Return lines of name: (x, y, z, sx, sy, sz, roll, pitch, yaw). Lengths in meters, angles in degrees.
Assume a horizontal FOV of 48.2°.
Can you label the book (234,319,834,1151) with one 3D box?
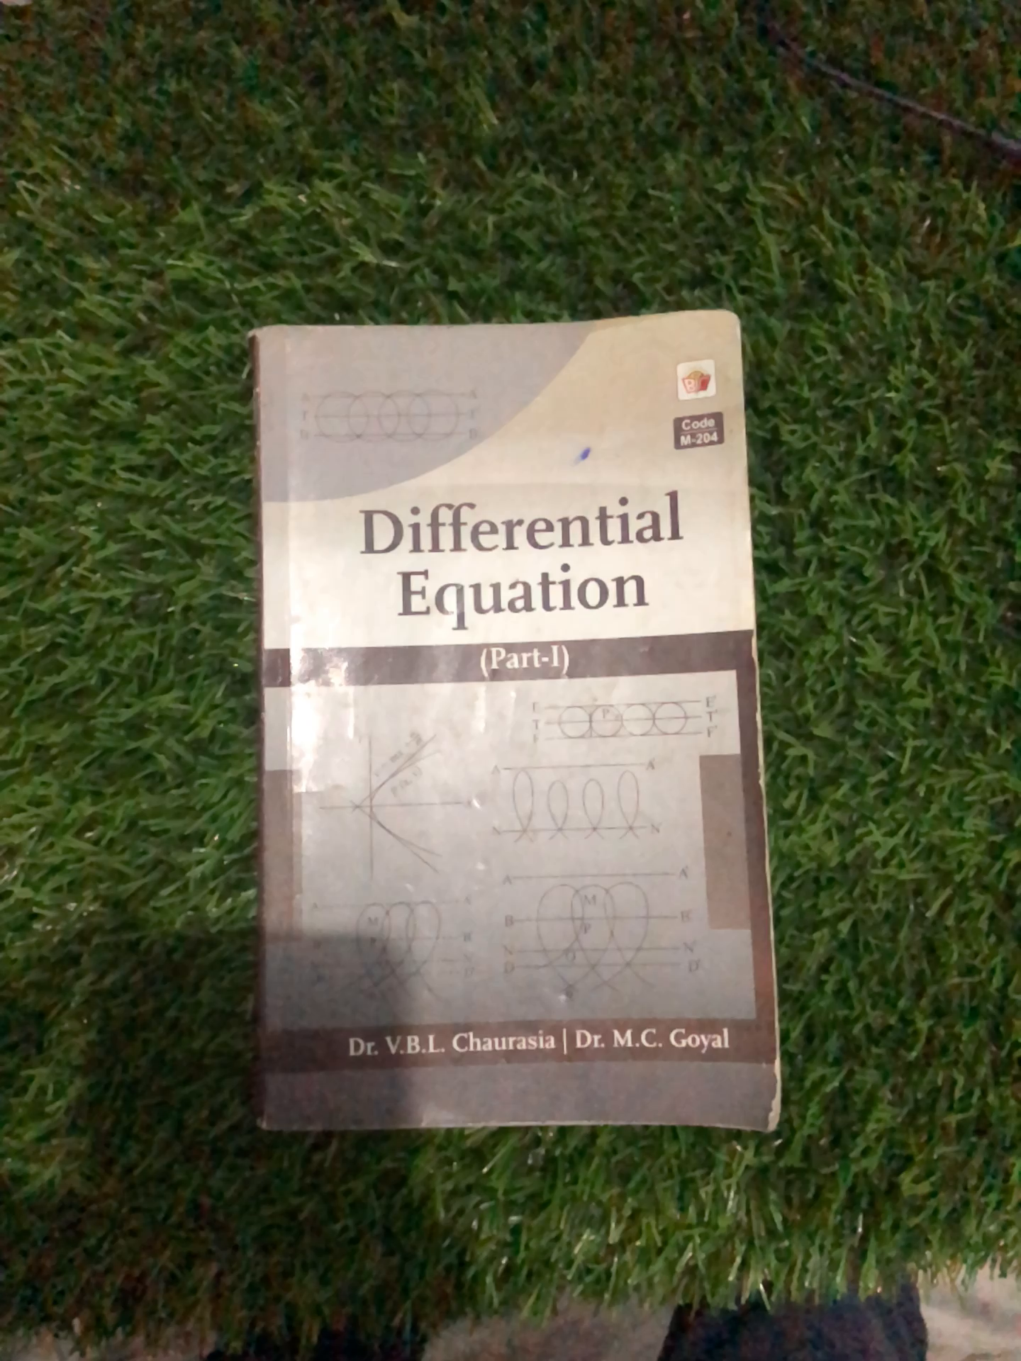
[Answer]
book: (0.003, 0.010, 0.293, 0.140, 0.030, 0.200, -1, 83, -2)
